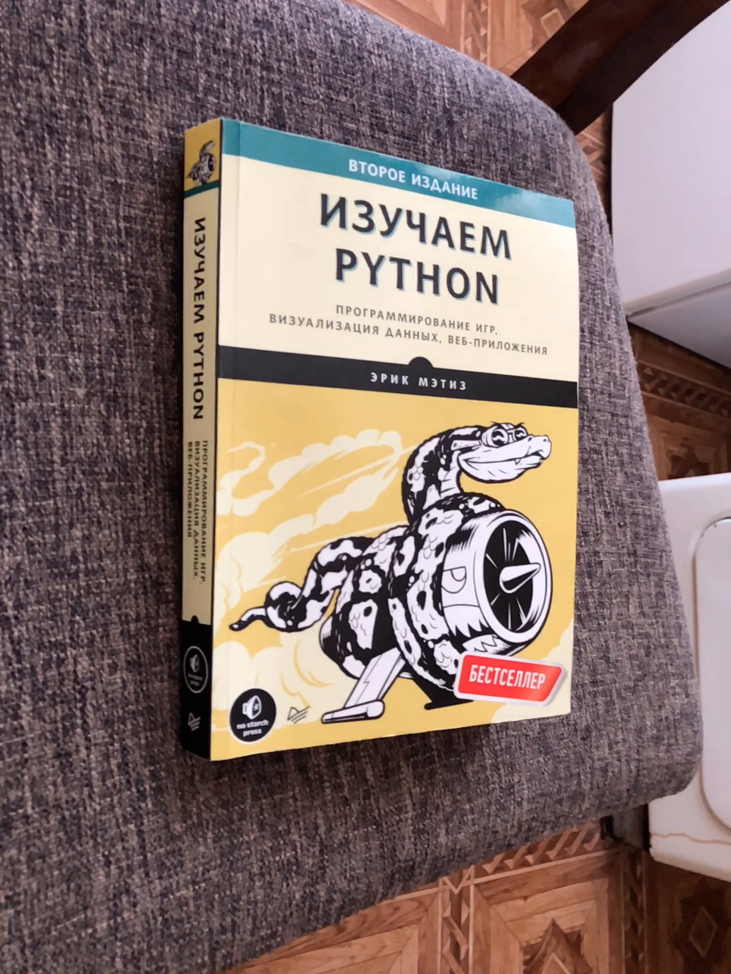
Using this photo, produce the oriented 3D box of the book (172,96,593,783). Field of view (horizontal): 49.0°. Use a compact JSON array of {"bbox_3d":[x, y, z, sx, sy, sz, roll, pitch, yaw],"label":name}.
[{"bbox_3d":[0.012,-0.016,0.326,0.168,0.040,0.233,2,85,-27],"label":"book"}]
